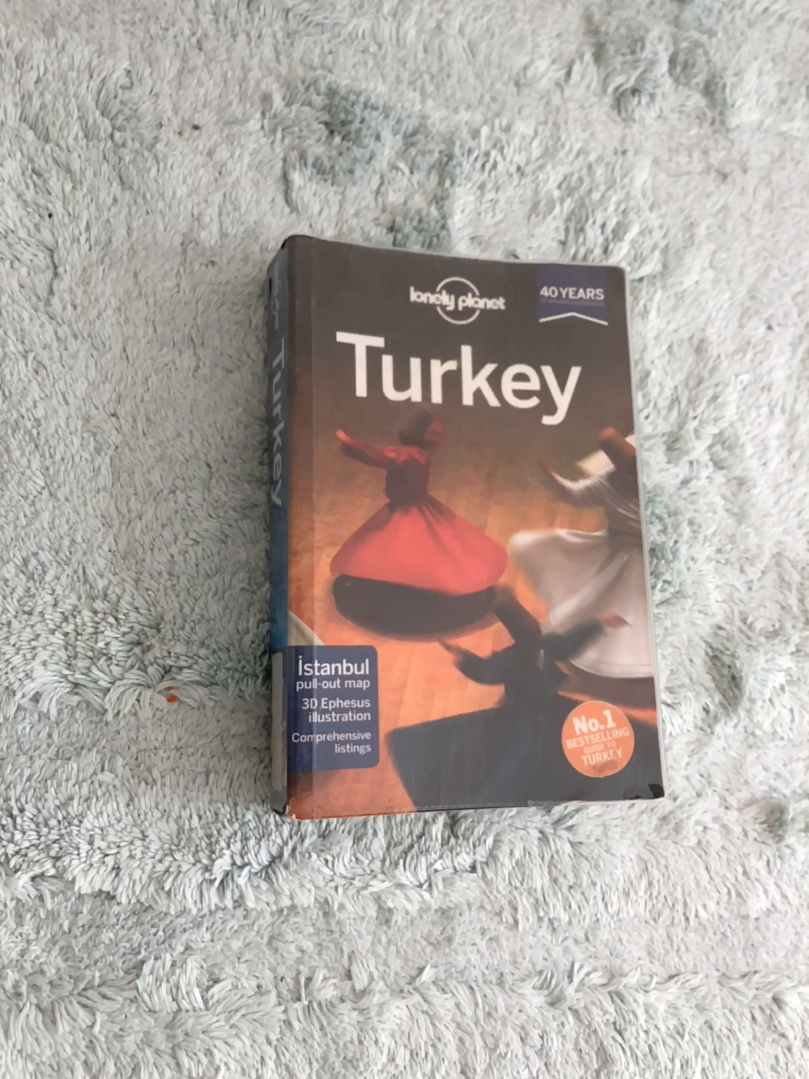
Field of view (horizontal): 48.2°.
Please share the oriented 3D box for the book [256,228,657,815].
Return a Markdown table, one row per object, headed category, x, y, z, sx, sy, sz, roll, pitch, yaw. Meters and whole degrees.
| category | x | y | z | sx | sy | sz | roll | pitch | yaw |
| --- | --- | --- | --- | --- | --- | --- | --- | --- | --- |
| book | 0.015 | -0.005 | 0.327 | 0.130 | 0.046 | 0.190 | 2 | 80 | -15 |
